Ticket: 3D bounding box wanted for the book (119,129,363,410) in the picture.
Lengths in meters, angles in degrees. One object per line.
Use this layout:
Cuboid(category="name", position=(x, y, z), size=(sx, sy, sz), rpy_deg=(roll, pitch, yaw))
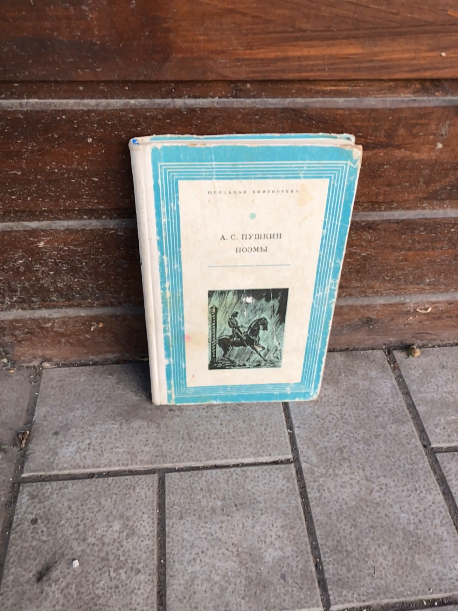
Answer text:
Cuboid(category="book", position=(0.005, -0.014, 0.333), size=(0.130, 0.189, 0.030), rpy_deg=(-2, 33, -5))
